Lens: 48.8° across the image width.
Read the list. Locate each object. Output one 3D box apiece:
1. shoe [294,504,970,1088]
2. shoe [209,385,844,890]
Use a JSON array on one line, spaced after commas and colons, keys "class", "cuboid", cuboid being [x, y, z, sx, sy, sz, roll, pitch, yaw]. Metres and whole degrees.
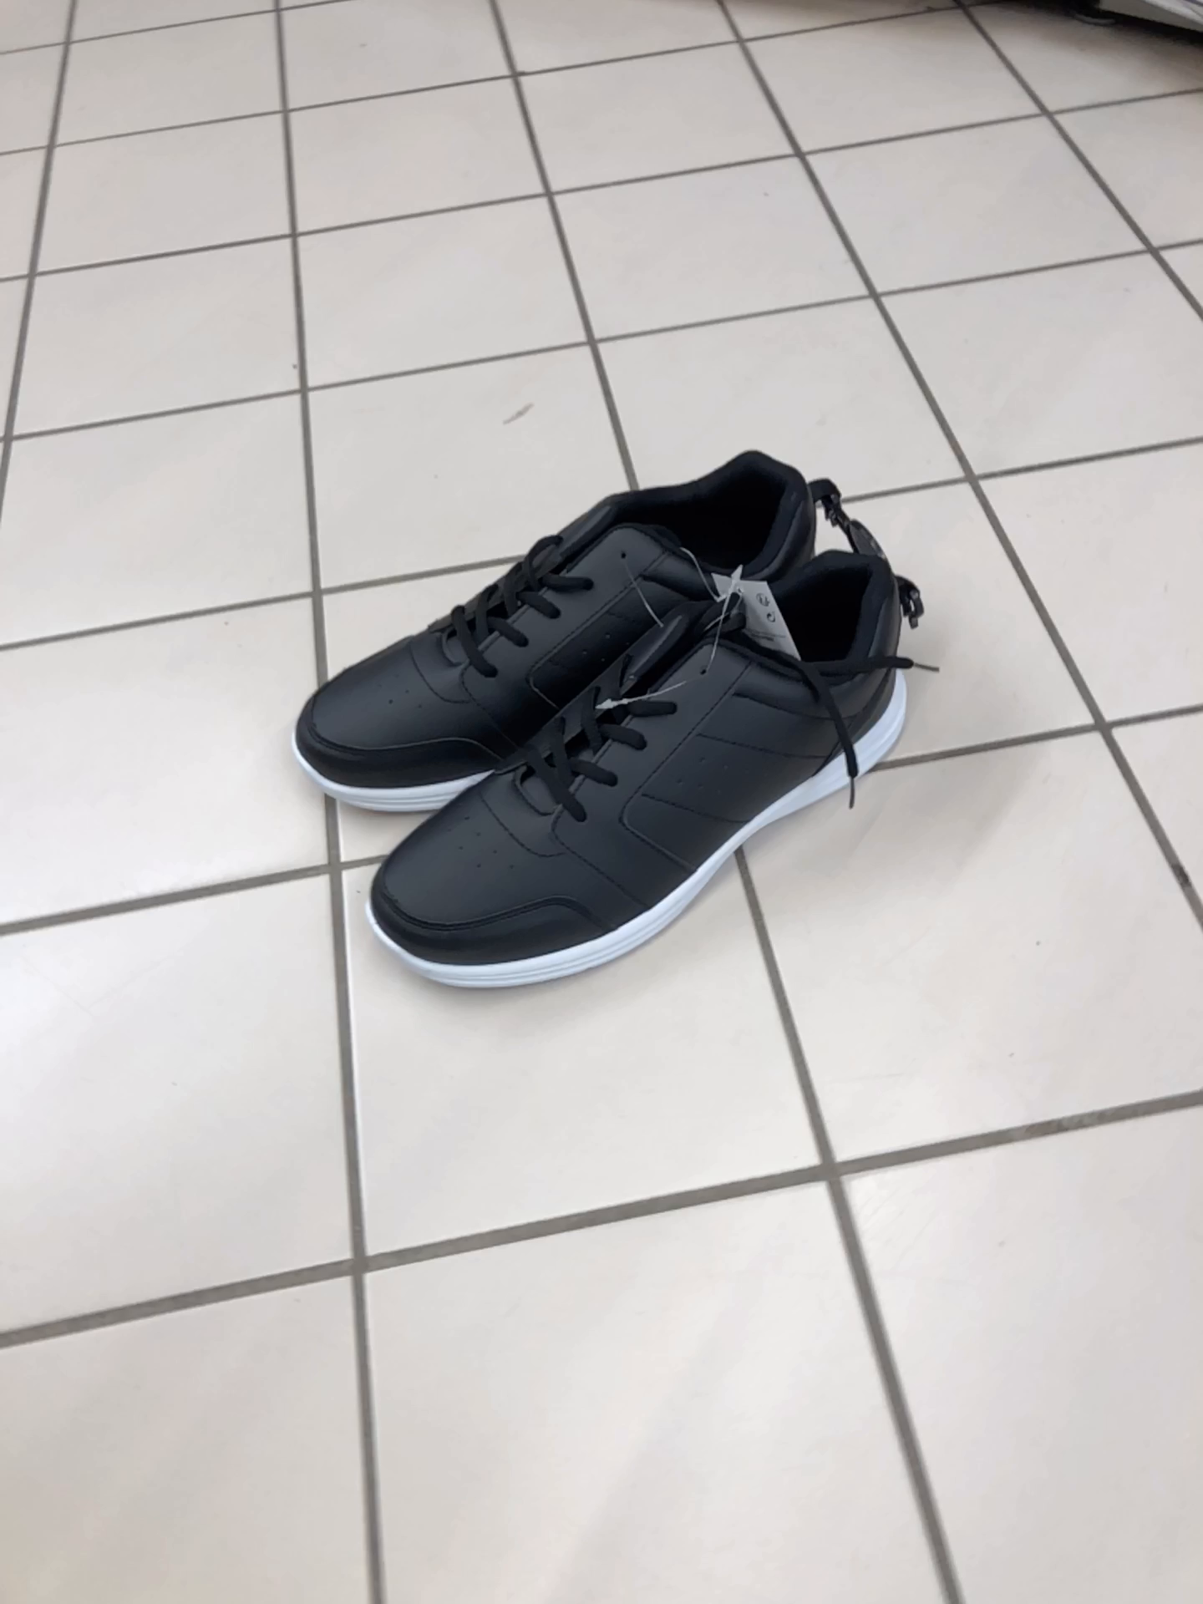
[{"class": "shoe", "cuboid": [0.021, -0.008, 0.637, 0.291, 0.119, 0.110, -30, 56, -17]}, {"class": "shoe", "cuboid": [-0.031, -0.089, 0.689, 0.291, 0.119, 0.110, -25, 55, -13]}]
